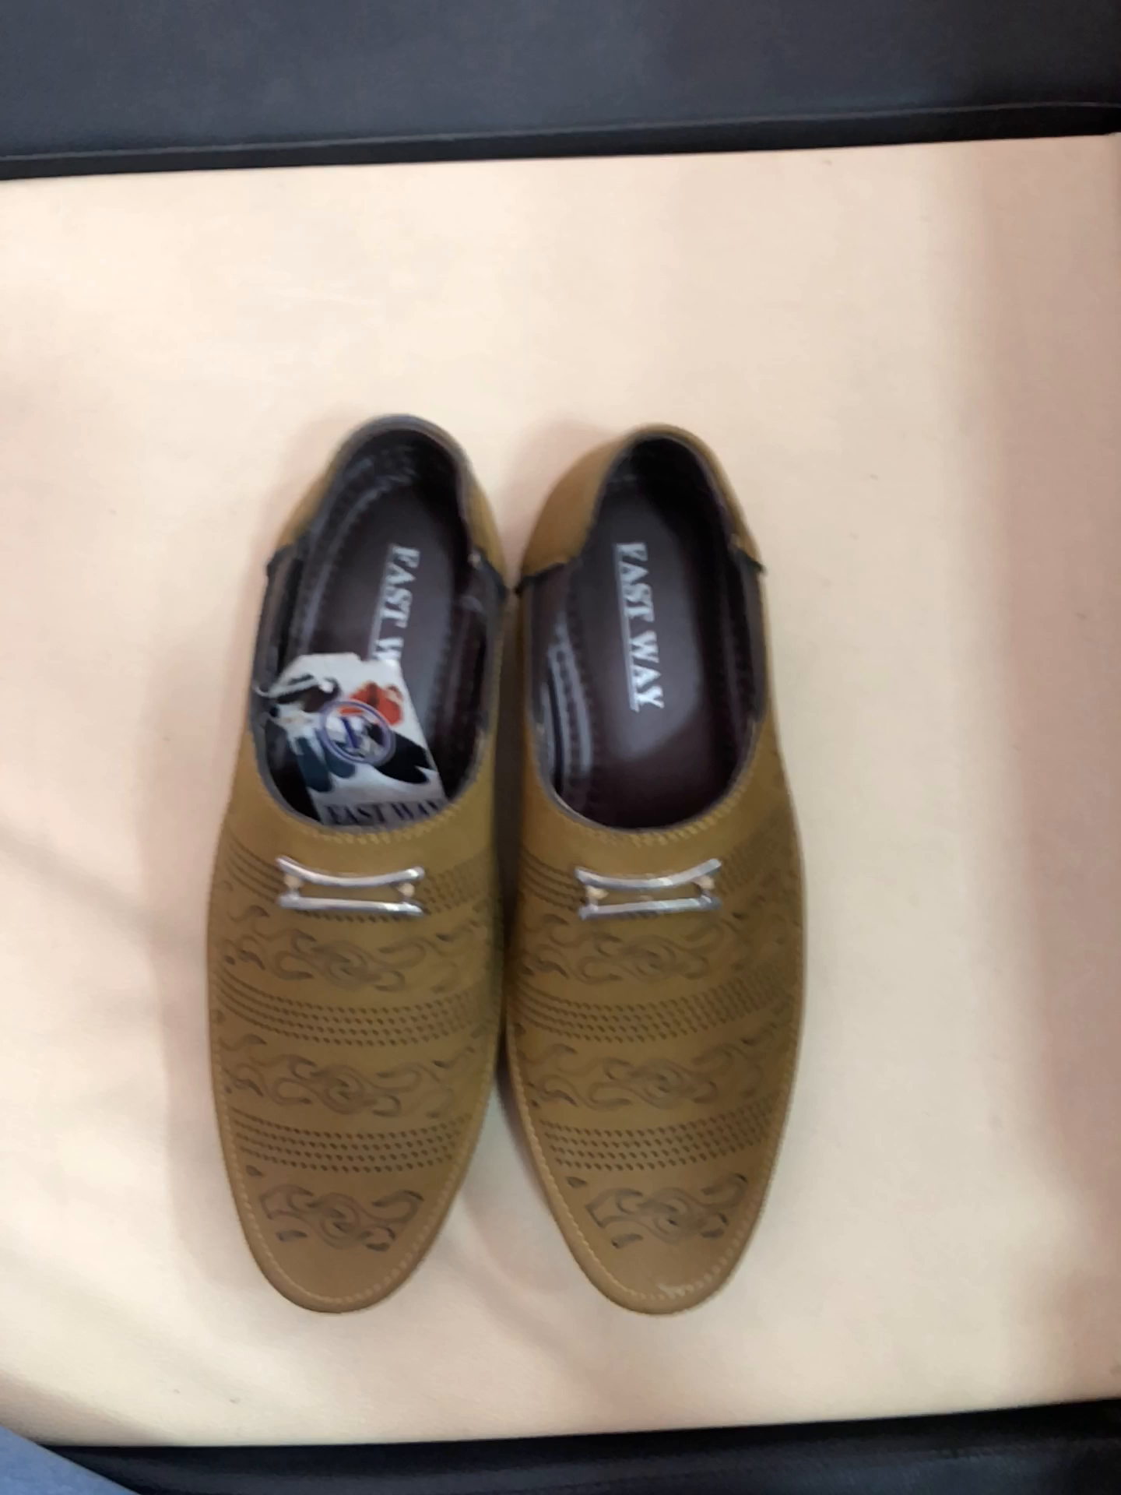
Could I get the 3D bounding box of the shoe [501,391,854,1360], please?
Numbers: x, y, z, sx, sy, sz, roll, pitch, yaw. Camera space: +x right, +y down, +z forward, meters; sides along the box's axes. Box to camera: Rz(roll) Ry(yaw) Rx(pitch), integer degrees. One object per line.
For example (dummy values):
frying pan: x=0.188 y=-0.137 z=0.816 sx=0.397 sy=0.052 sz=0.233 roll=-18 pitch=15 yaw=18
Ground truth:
shoe: x=0.038 y=0.036 z=0.415 sx=0.100 sy=0.100 sz=0.280 roll=1 pitch=88 yaw=3

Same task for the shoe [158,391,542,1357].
shoe: x=-0.062 y=0.036 z=0.416 sx=0.100 sy=0.100 sz=0.280 roll=1 pitch=88 yaw=3
